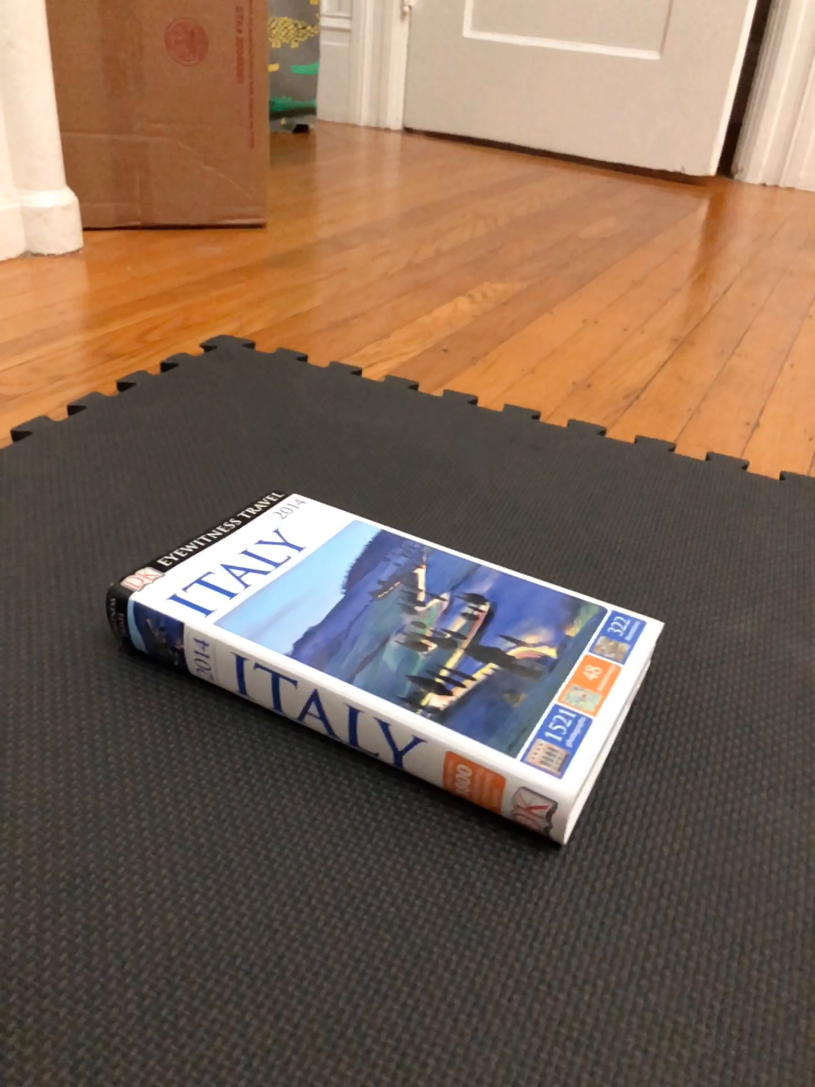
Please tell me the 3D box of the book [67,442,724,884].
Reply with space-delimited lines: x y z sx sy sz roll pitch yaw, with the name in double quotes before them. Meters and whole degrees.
"book" 0.000 0.031 0.413 0.250 0.040 0.161 18 33 20
